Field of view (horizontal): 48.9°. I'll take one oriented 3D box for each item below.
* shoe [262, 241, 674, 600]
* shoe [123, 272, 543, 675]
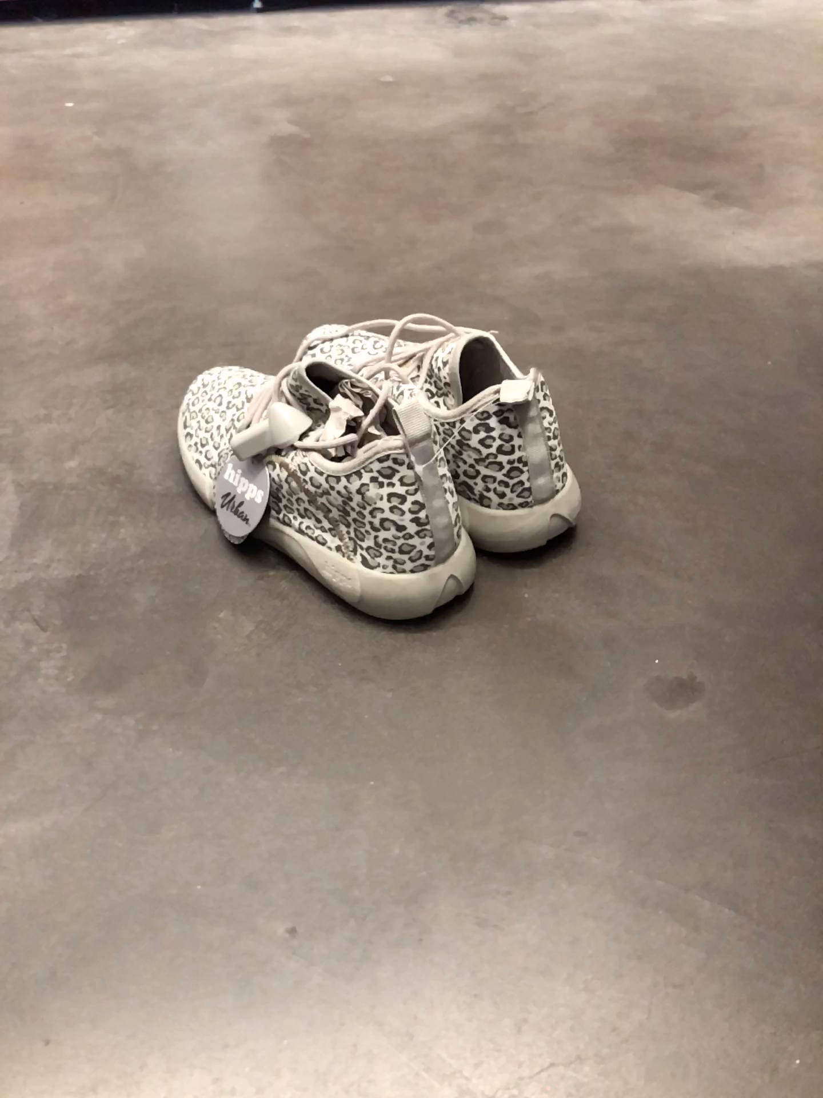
[{"bbox_3d":[0.023,-0.093,0.562,0.100,0.099,0.250,-28,47,-28],"label":"shoe"},{"bbox_3d":[-0.053,-0.058,0.517,0.100,0.099,0.250,-28,47,-28],"label":"shoe"}]
